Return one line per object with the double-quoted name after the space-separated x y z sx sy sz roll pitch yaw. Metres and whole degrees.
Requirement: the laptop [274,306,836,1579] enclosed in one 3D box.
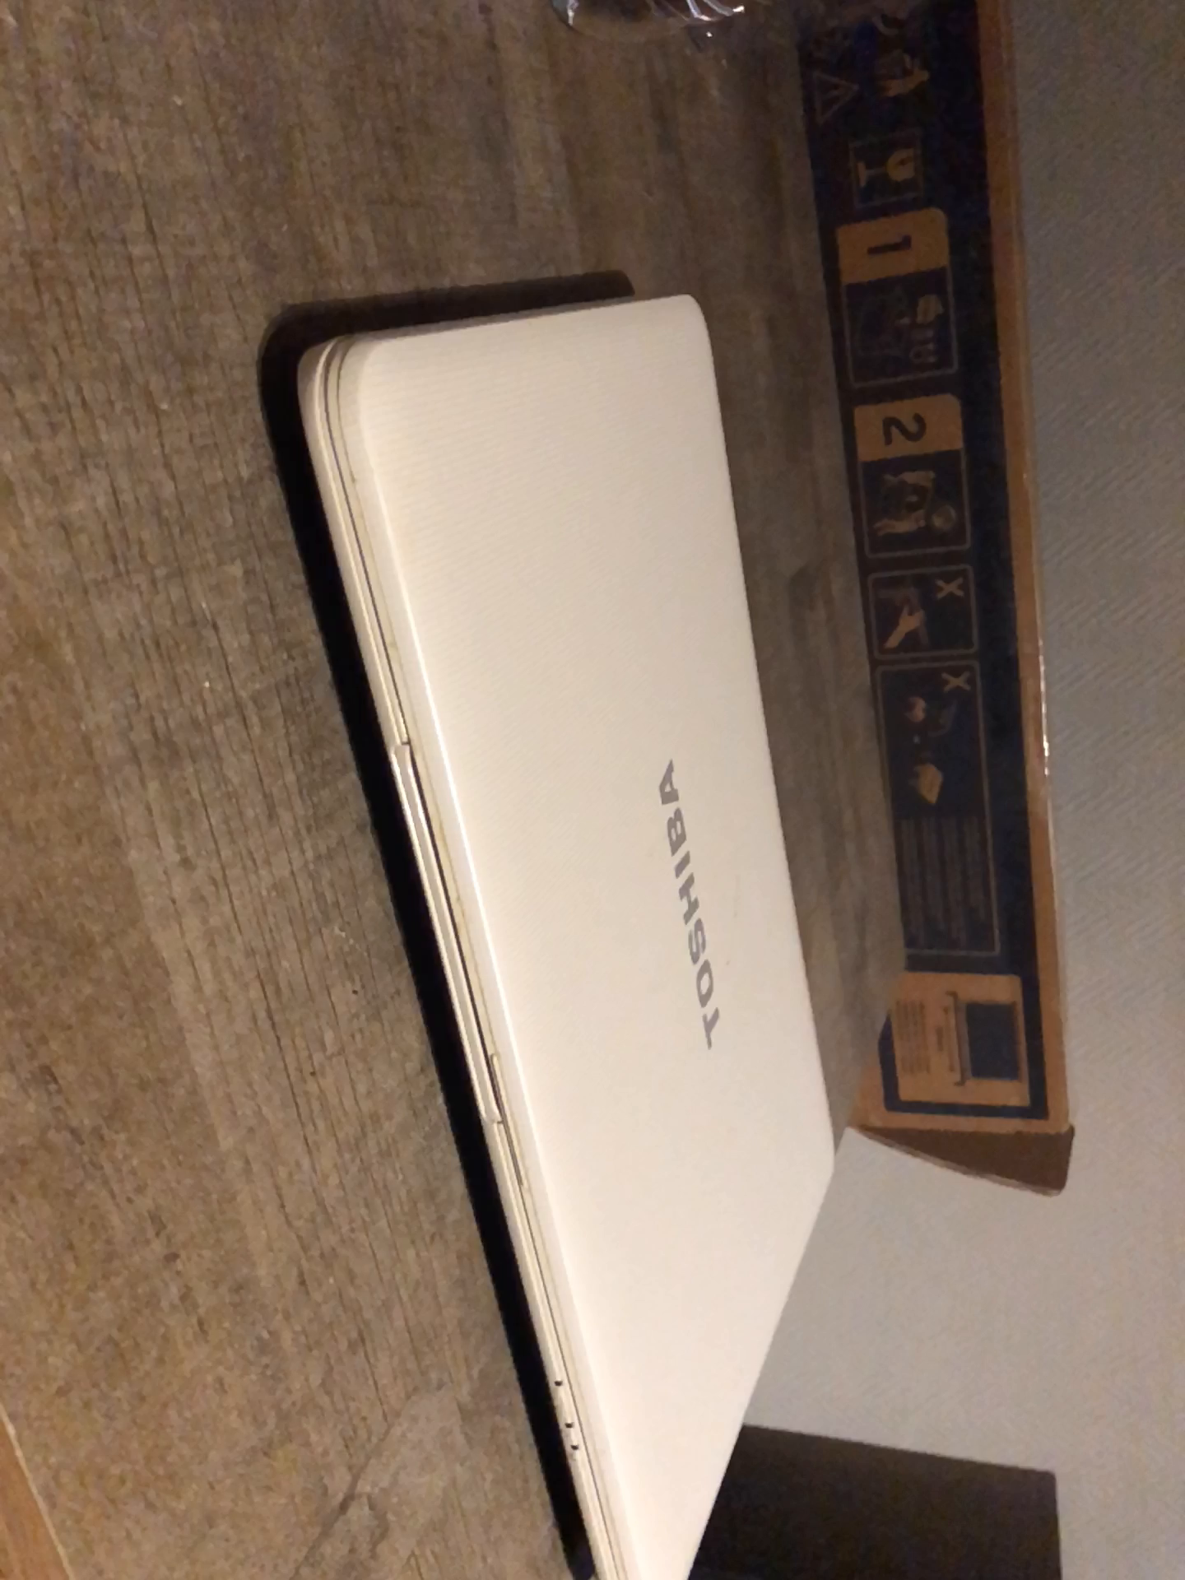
0.020 0.042 0.444 0.228 0.020 0.376 -43 126 -57 "laptop"
